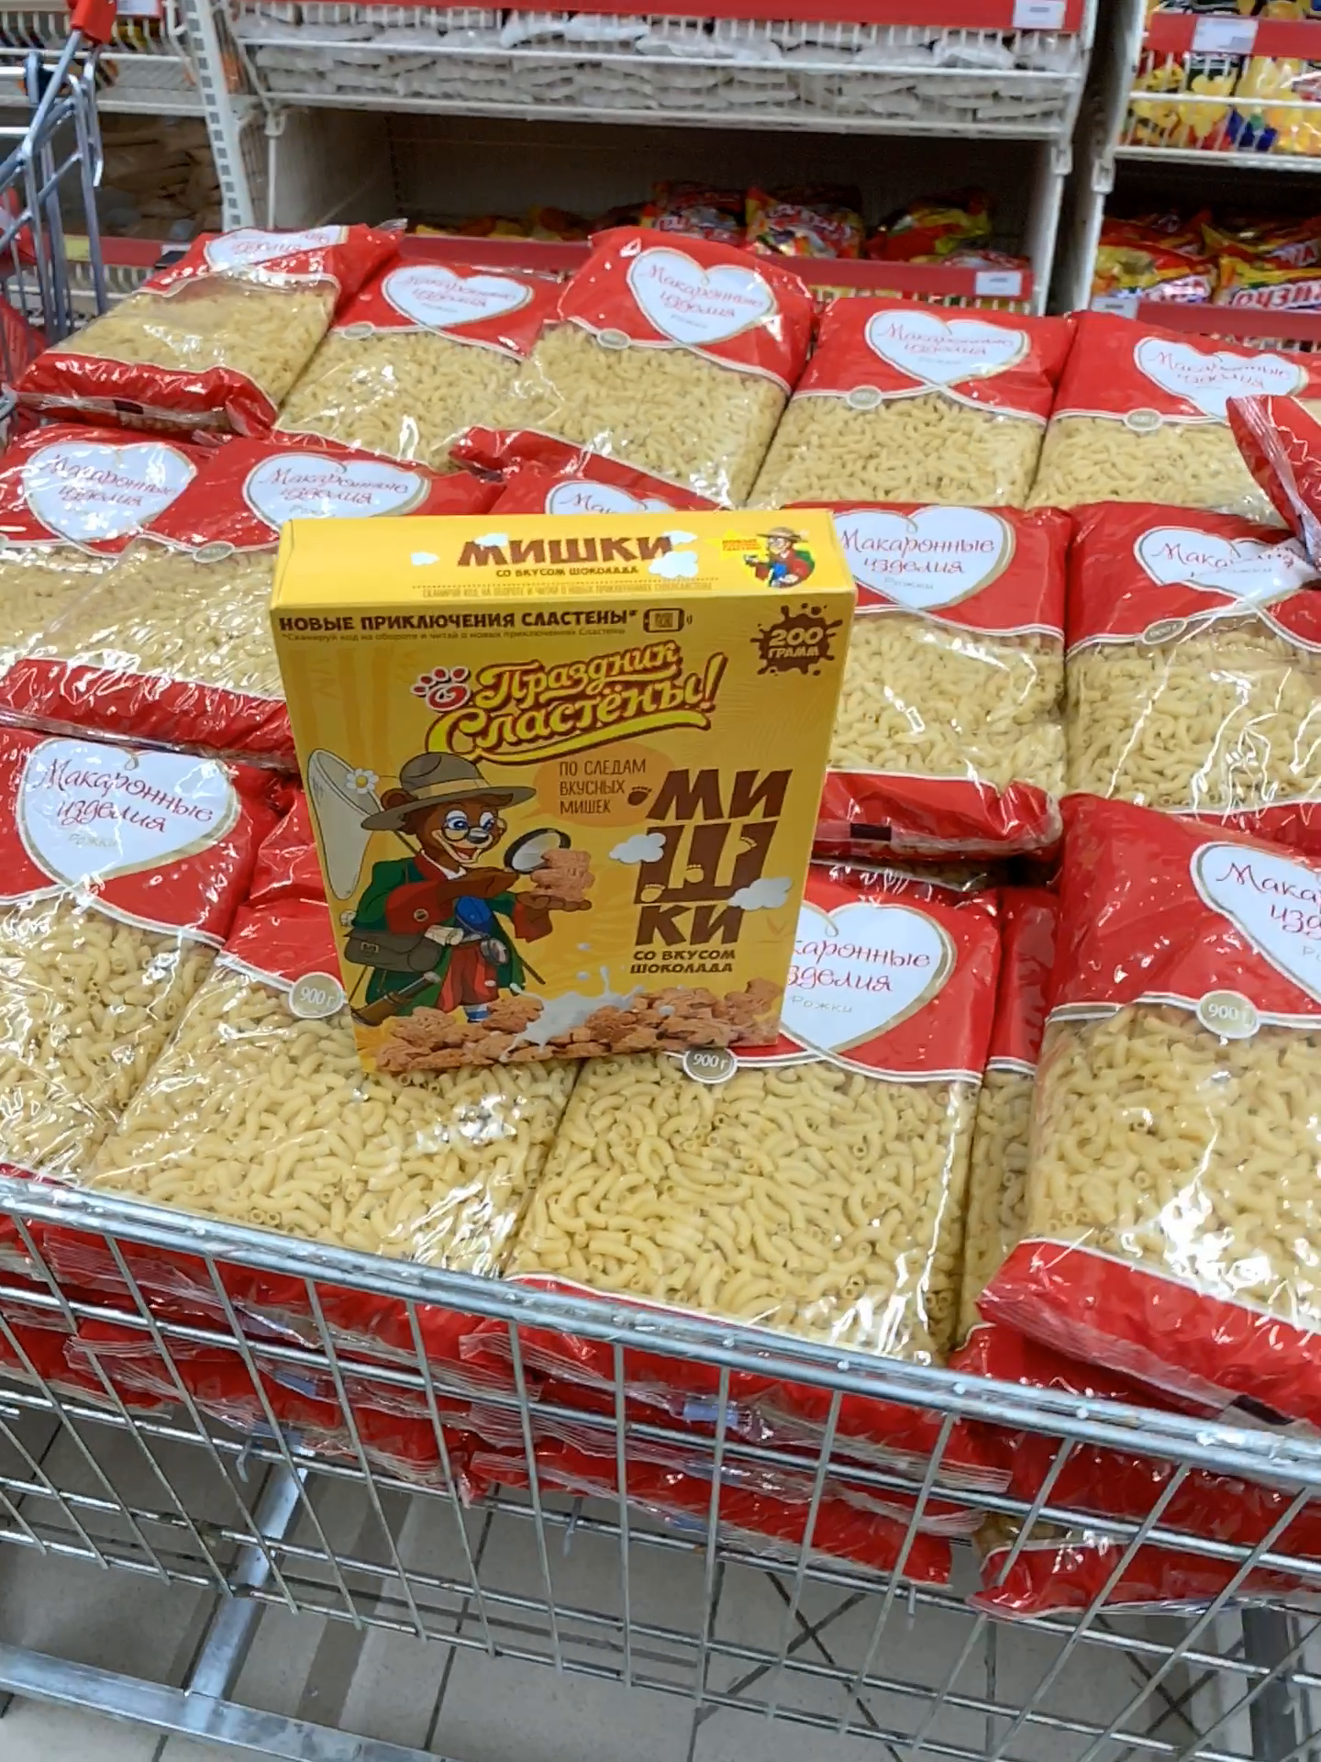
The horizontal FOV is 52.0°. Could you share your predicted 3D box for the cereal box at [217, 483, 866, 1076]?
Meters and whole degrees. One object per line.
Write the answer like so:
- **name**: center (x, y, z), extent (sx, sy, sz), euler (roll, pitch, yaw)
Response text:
- **cereal box**: center (-0.035, -0.021, 0.455), extent (0.170, 0.218, 0.050), euler (-3, 49, -5)
